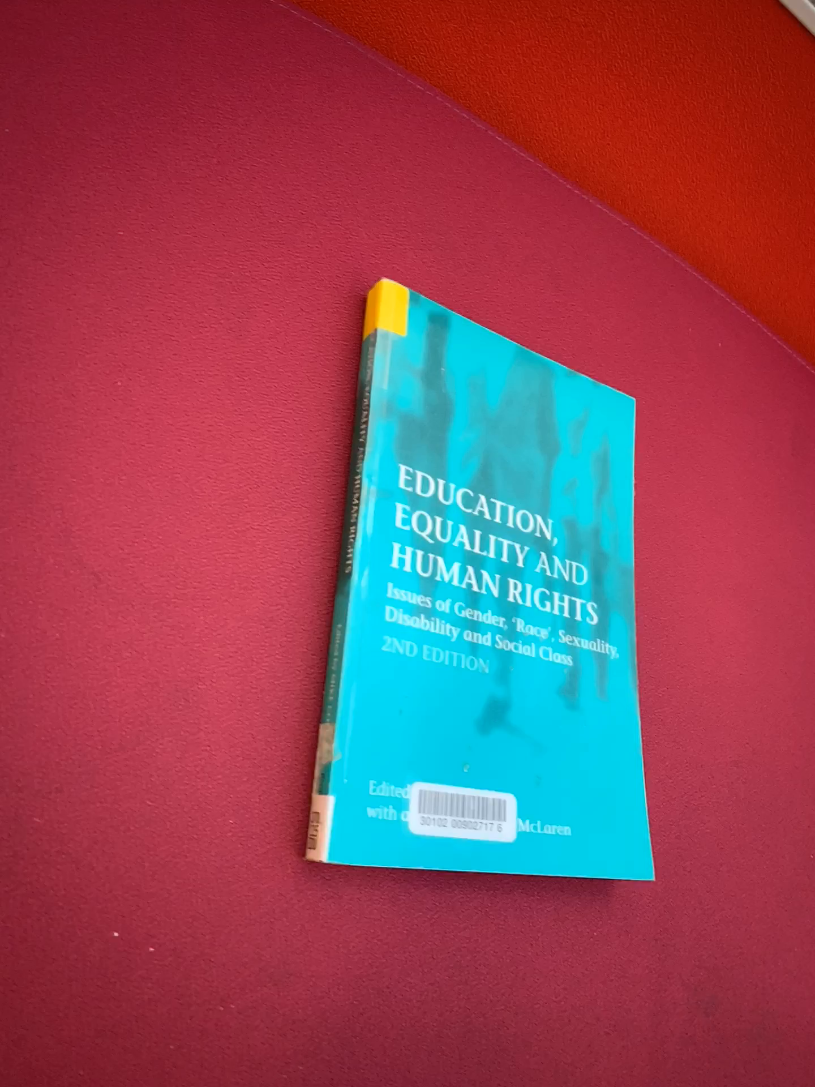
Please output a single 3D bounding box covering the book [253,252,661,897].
[{"bbox_3d":[0.037,0.019,0.372,0.181,0.030,0.251,16,67,-31],"label":"book"}]
